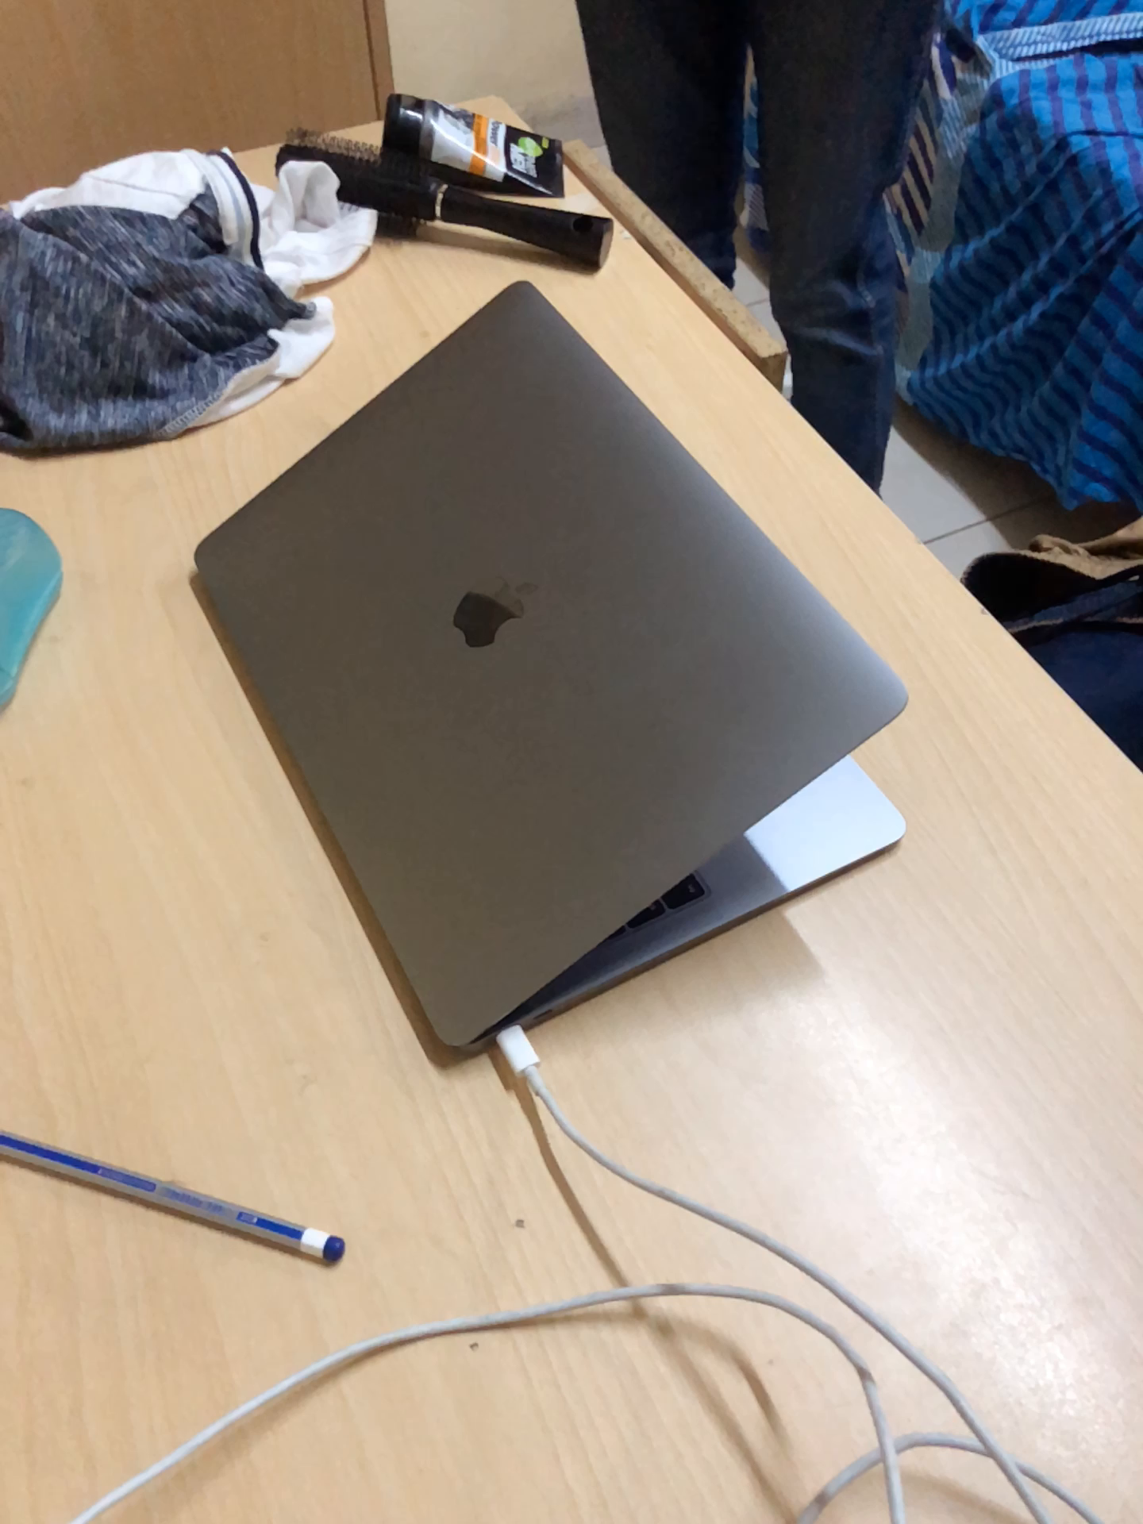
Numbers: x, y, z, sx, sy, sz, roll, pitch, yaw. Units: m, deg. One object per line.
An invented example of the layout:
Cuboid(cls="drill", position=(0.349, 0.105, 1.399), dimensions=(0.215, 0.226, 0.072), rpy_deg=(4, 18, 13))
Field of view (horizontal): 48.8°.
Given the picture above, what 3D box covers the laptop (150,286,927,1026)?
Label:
Cuboid(cls="laptop", position=(-0.028, -0.067, 0.542), dimensions=(0.193, 0.094, 0.295), rpy_deg=(-23, 56, -19))
